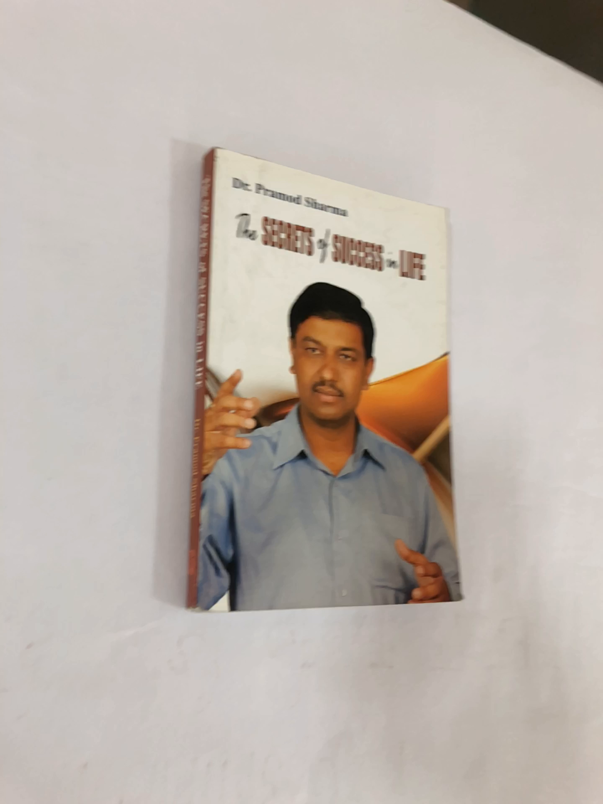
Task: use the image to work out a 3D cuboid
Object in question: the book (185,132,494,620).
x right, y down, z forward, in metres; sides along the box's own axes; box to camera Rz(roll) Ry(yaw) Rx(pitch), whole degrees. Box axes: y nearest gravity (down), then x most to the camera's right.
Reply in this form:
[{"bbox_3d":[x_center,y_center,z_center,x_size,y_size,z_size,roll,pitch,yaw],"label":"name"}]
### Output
[{"bbox_3d":[0.022,-0.010,0.323,0.150,0.020,0.210,6,76,-28],"label":"book"}]
